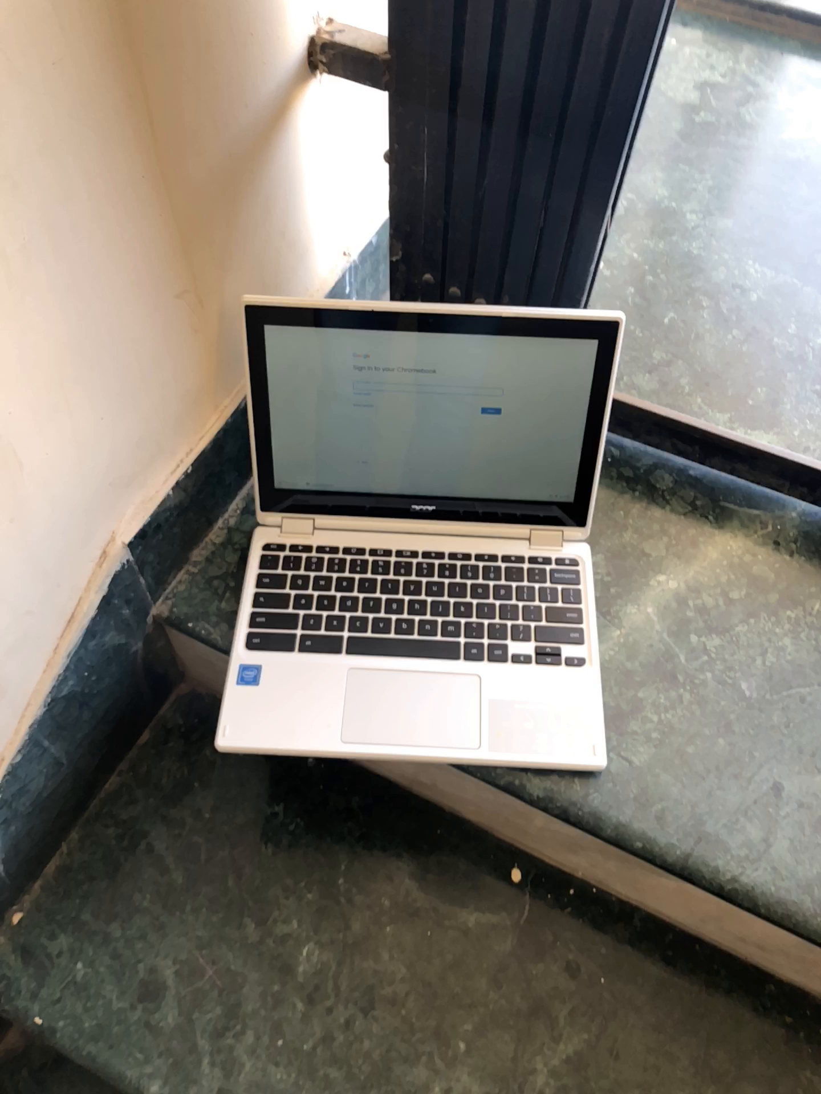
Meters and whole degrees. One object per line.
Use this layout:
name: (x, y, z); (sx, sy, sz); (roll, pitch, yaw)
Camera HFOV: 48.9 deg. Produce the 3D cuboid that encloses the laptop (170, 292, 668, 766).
laptop: (0.010, -0.014, 0.652); (0.278, 0.178, 0.272); (3, 55, 1)
